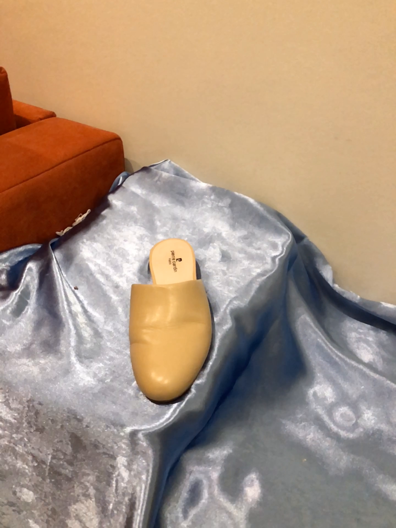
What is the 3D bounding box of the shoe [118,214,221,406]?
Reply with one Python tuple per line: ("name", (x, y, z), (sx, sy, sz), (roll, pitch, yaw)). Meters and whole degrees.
("shoe", (-0.029, 0.038, 0.525), (0.095, 0.060, 0.262), (3, 39, -3))
